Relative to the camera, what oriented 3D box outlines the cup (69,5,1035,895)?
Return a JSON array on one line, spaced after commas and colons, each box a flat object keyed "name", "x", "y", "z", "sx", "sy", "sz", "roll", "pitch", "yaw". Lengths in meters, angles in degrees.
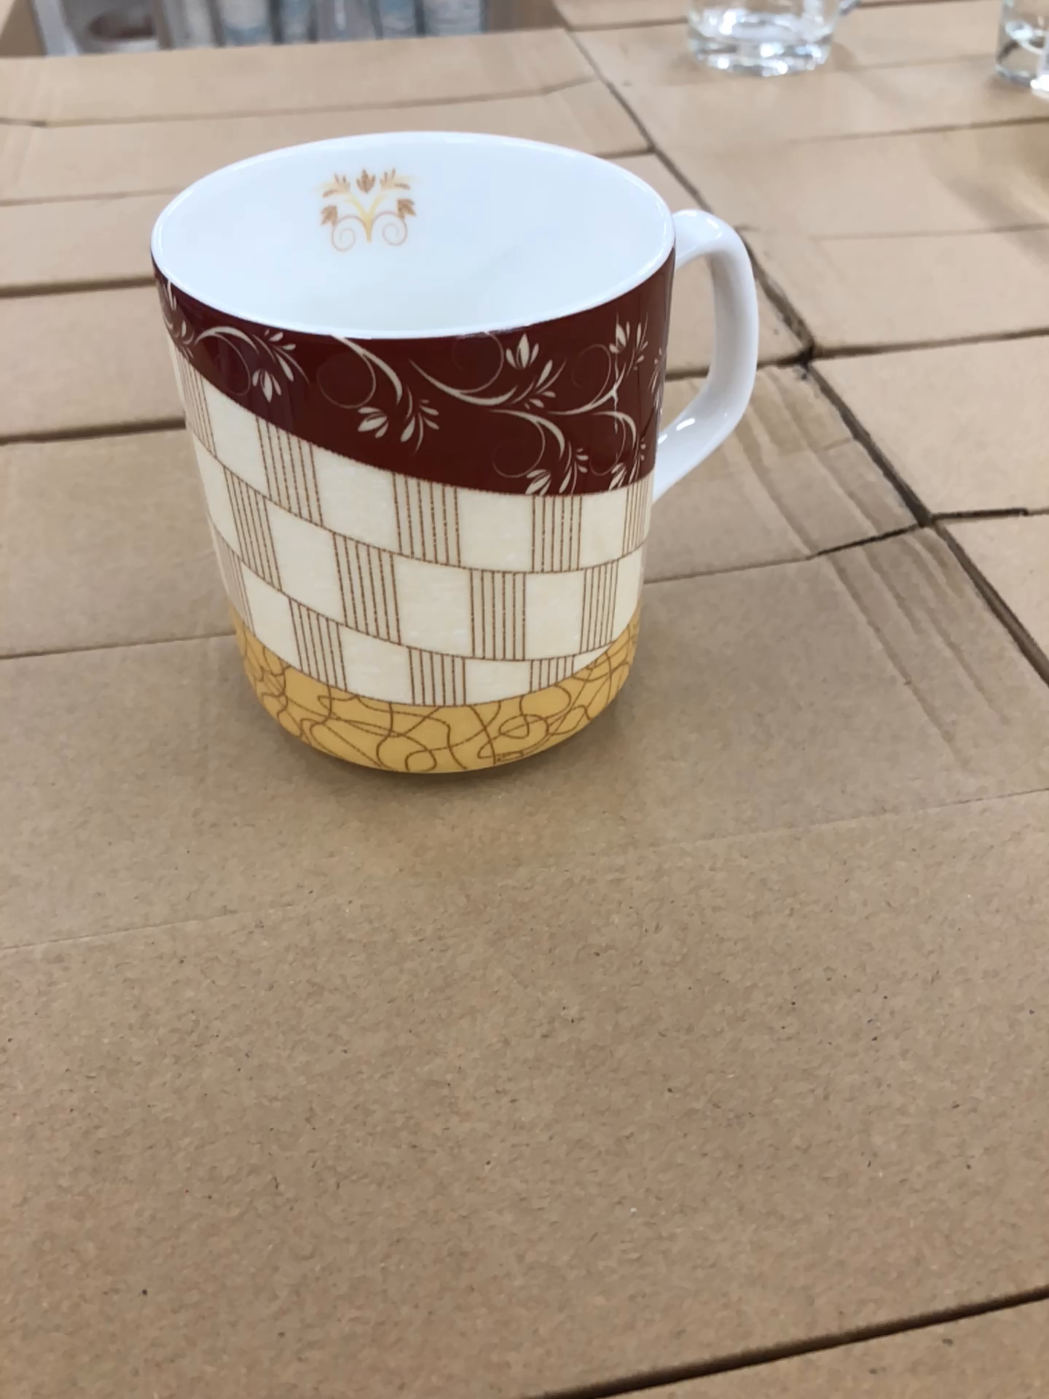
[{"name": "cup", "x": 0.005, "y": -0.043, "z": 0.176, "sx": 0.100, "sy": 0.080, "sz": 0.070, "roll": -29, "pitch": 50, "yaw": -26}]
